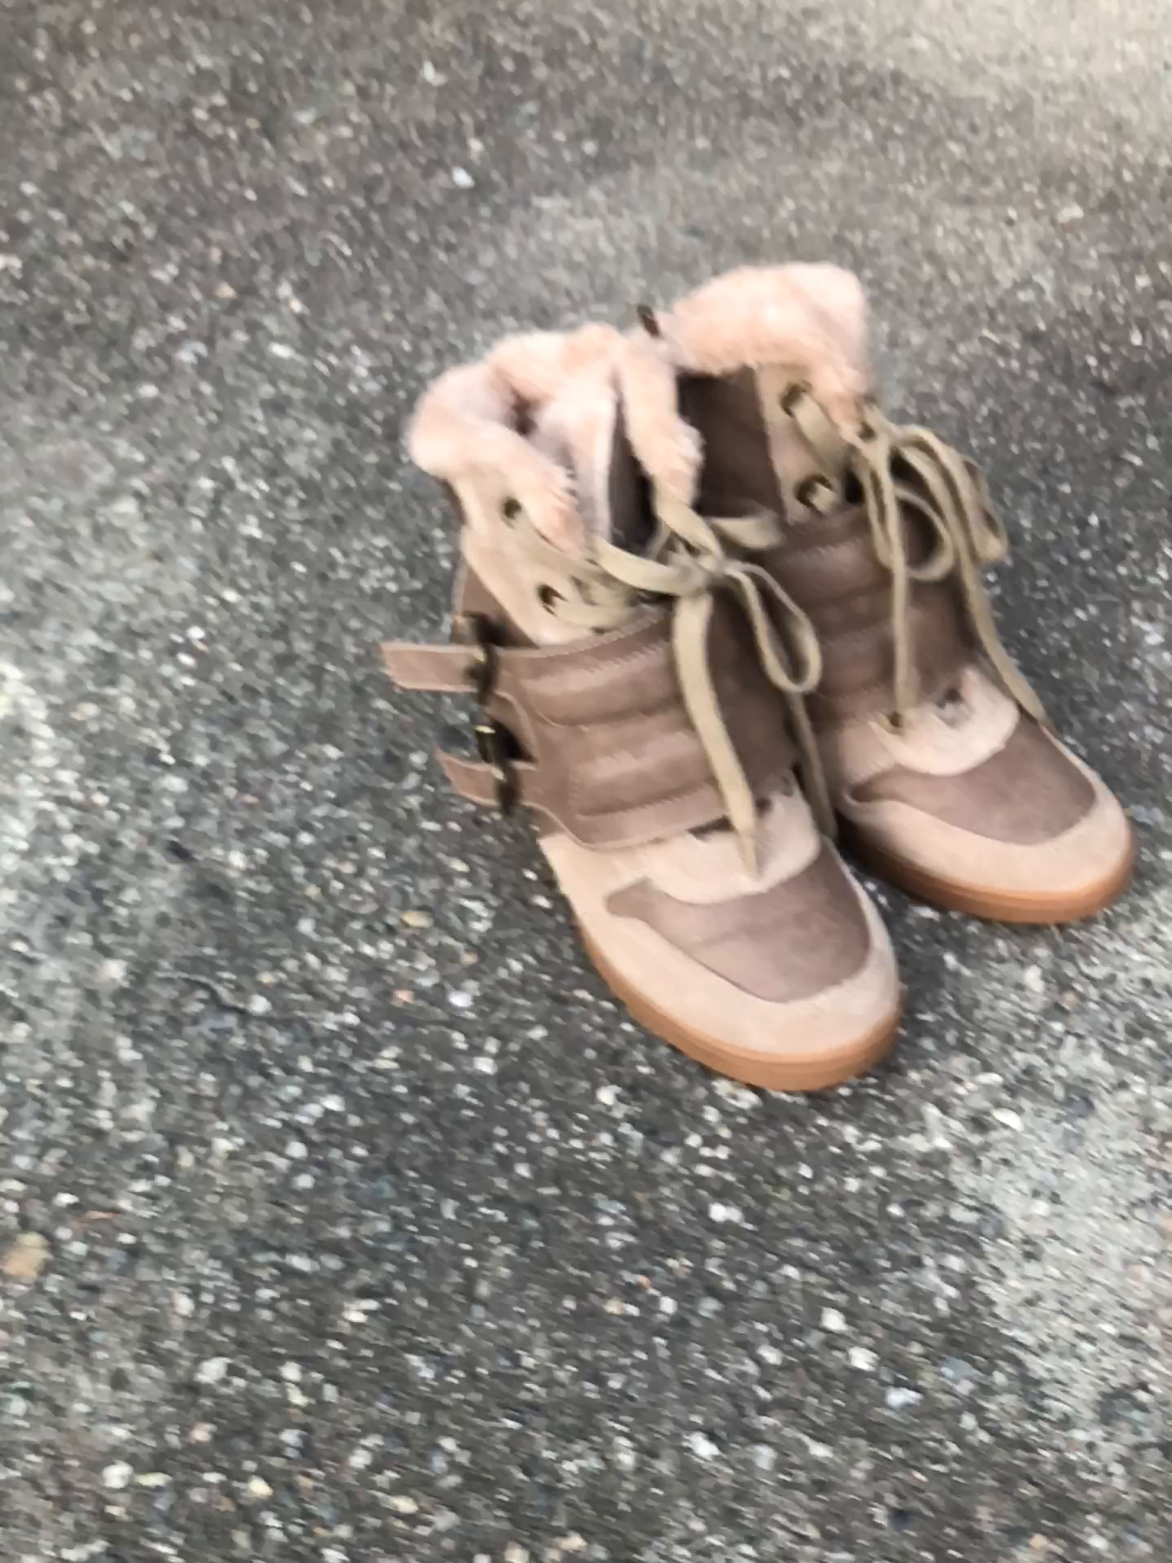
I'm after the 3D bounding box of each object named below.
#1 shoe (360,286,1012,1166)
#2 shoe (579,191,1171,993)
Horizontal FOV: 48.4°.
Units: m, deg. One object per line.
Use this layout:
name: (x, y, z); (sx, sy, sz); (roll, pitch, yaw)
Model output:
shoe: (0.022, -0.027, 0.441); (0.090, 0.179, 0.231); (-23, 47, -13)
shoe: (0.112, -0.077, 0.471); (0.100, 0.179, 0.231); (-29, 48, -20)
